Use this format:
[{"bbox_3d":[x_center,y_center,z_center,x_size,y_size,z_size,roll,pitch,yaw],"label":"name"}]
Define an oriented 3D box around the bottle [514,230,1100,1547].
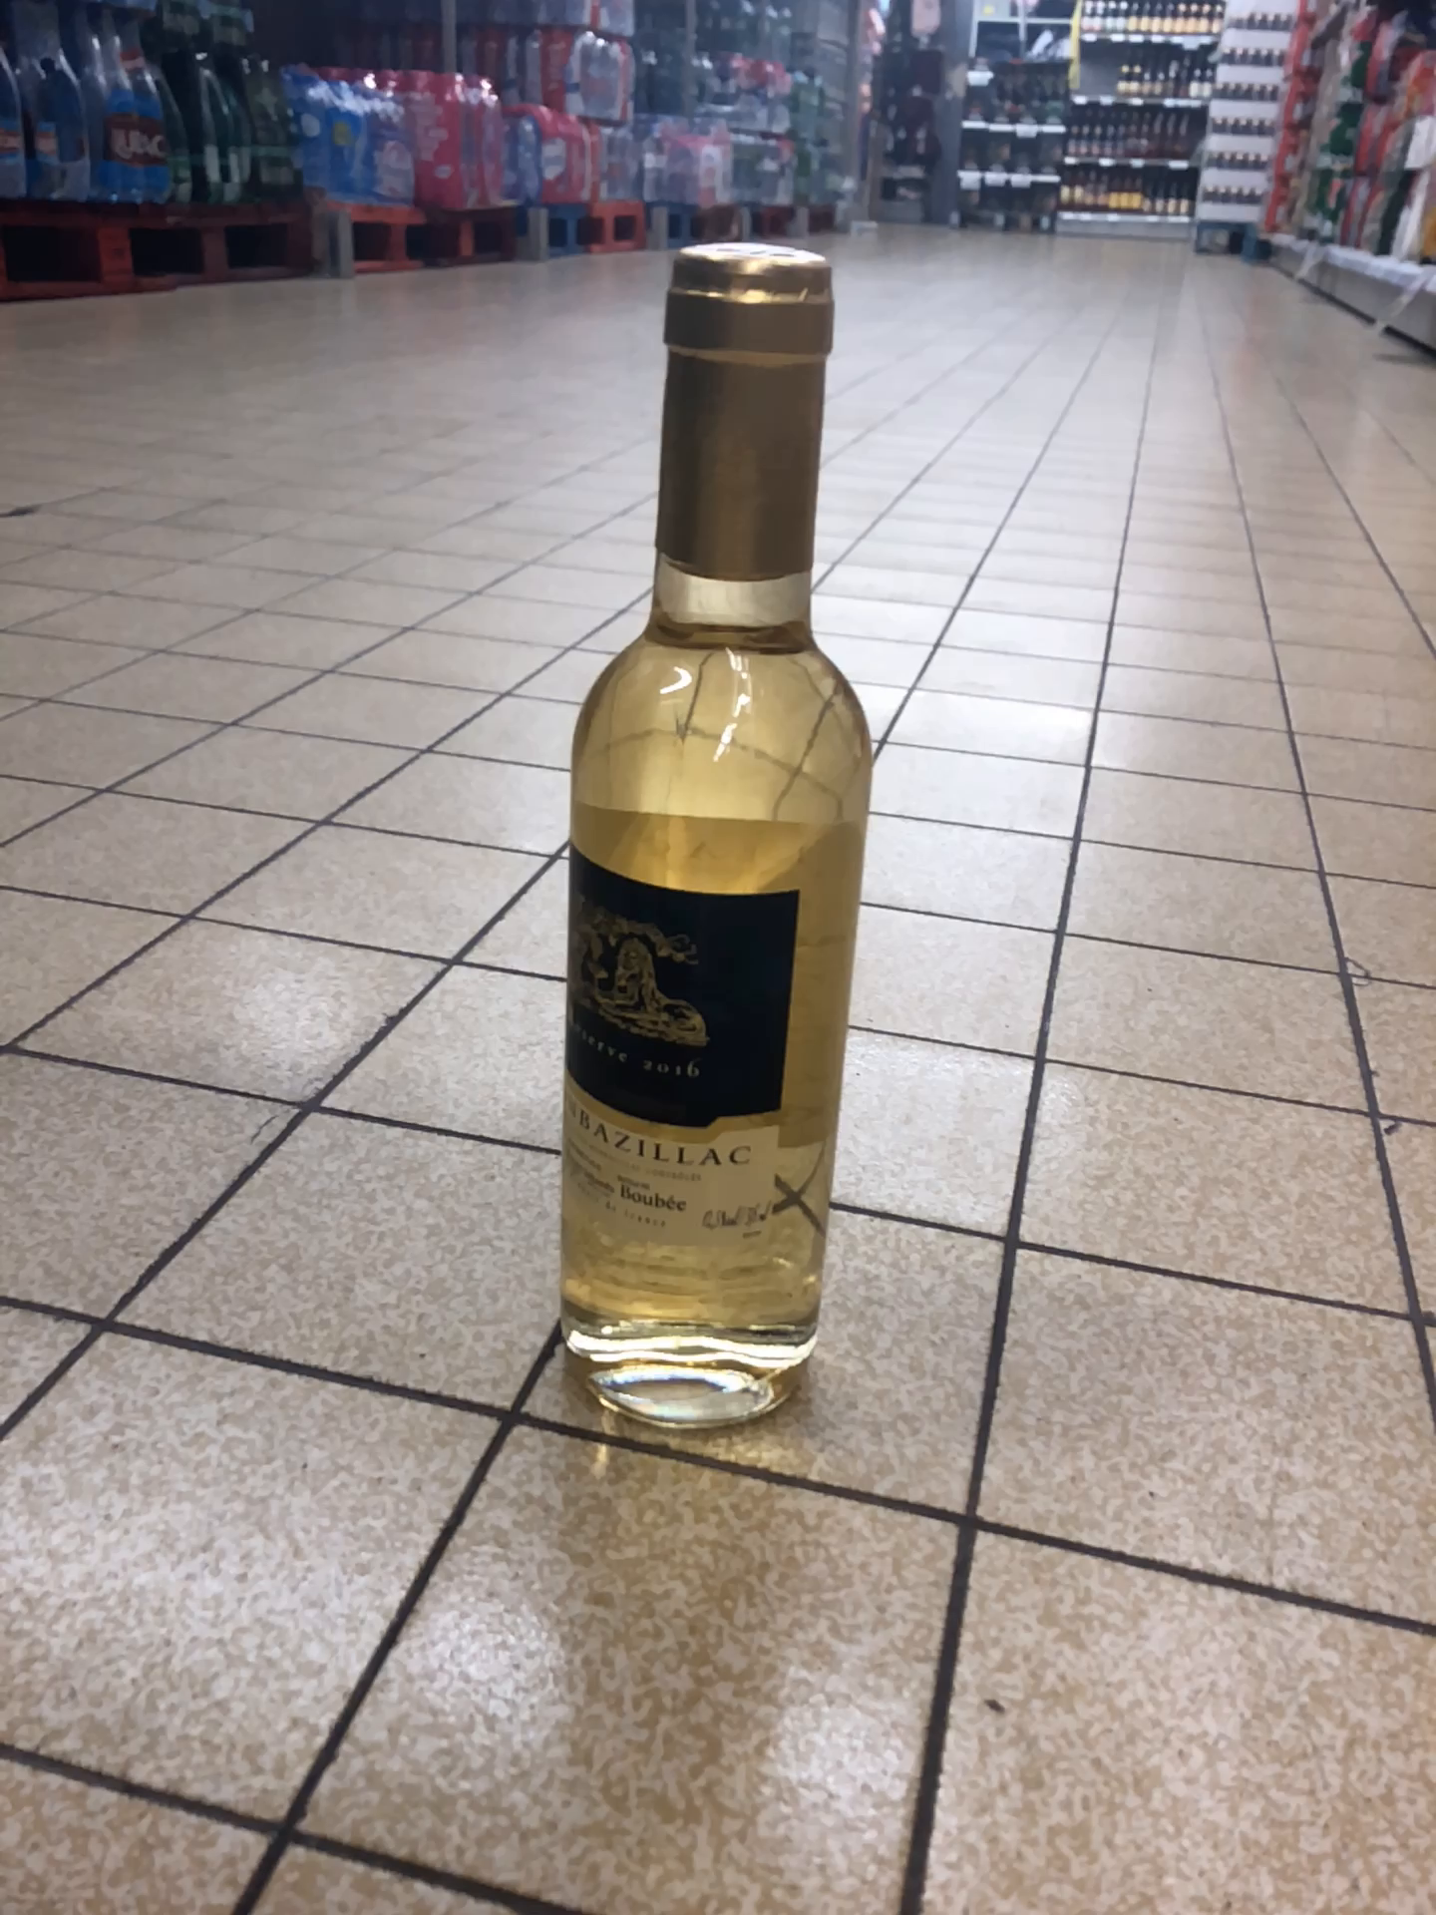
[{"bbox_3d":[0.010,-0.011,0.313,0.070,0.239,0.070,2,25,-1],"label":"bottle"}]
